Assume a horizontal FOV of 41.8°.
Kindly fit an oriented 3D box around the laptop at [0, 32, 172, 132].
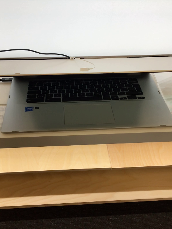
[{"bbox_3d":[0.002,-0.087,0.549,0.409,0.133,0.218,-3,48,-3],"label":"laptop"}]
